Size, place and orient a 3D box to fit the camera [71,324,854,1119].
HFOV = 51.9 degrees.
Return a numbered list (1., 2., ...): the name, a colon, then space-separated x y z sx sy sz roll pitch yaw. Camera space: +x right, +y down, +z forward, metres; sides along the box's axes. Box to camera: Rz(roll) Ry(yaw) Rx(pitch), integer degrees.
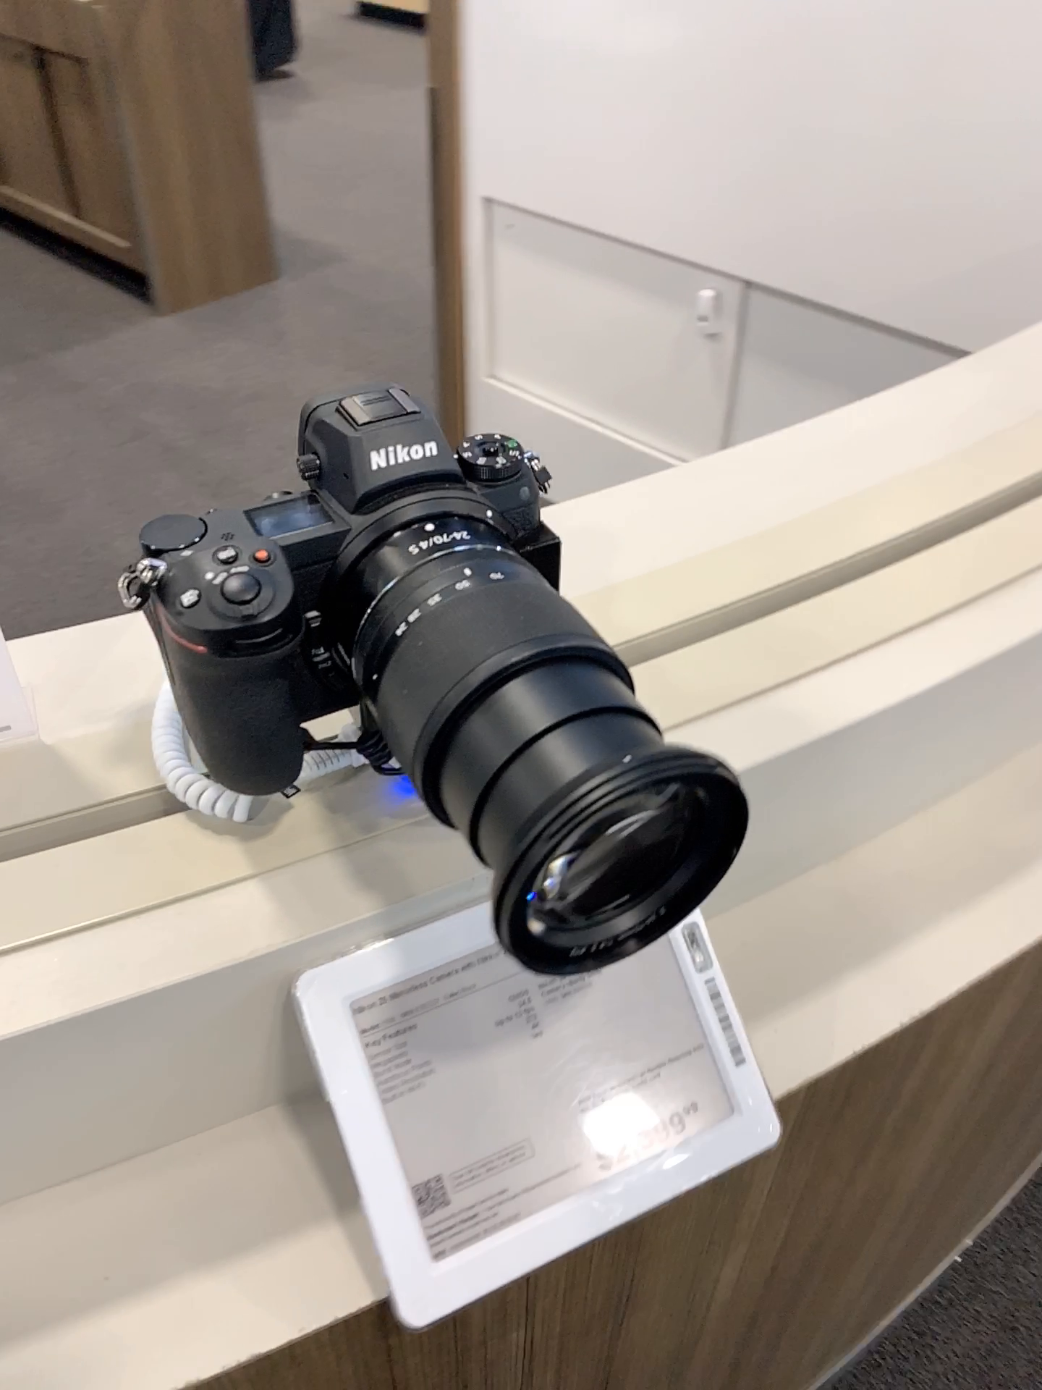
1. camera: -0.033 -0.015 0.330 0.140 0.099 0.211 -19 45 -21
